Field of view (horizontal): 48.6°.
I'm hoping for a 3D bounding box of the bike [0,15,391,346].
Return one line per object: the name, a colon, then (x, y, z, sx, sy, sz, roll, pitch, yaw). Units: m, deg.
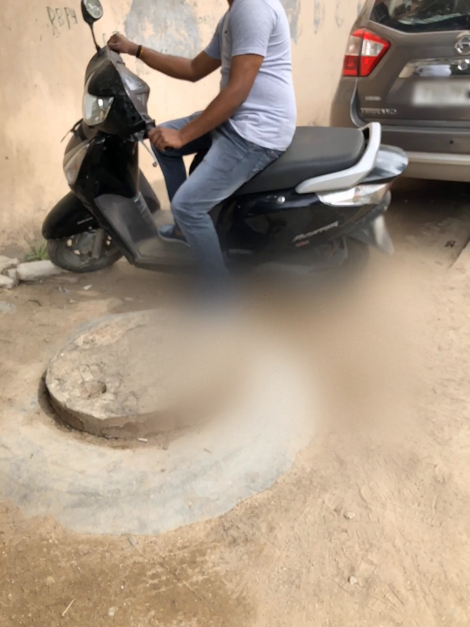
bike: (-0.222, -0.588, 2.320, 1.650, 1.229, 0.656, 1, 28, 7)
